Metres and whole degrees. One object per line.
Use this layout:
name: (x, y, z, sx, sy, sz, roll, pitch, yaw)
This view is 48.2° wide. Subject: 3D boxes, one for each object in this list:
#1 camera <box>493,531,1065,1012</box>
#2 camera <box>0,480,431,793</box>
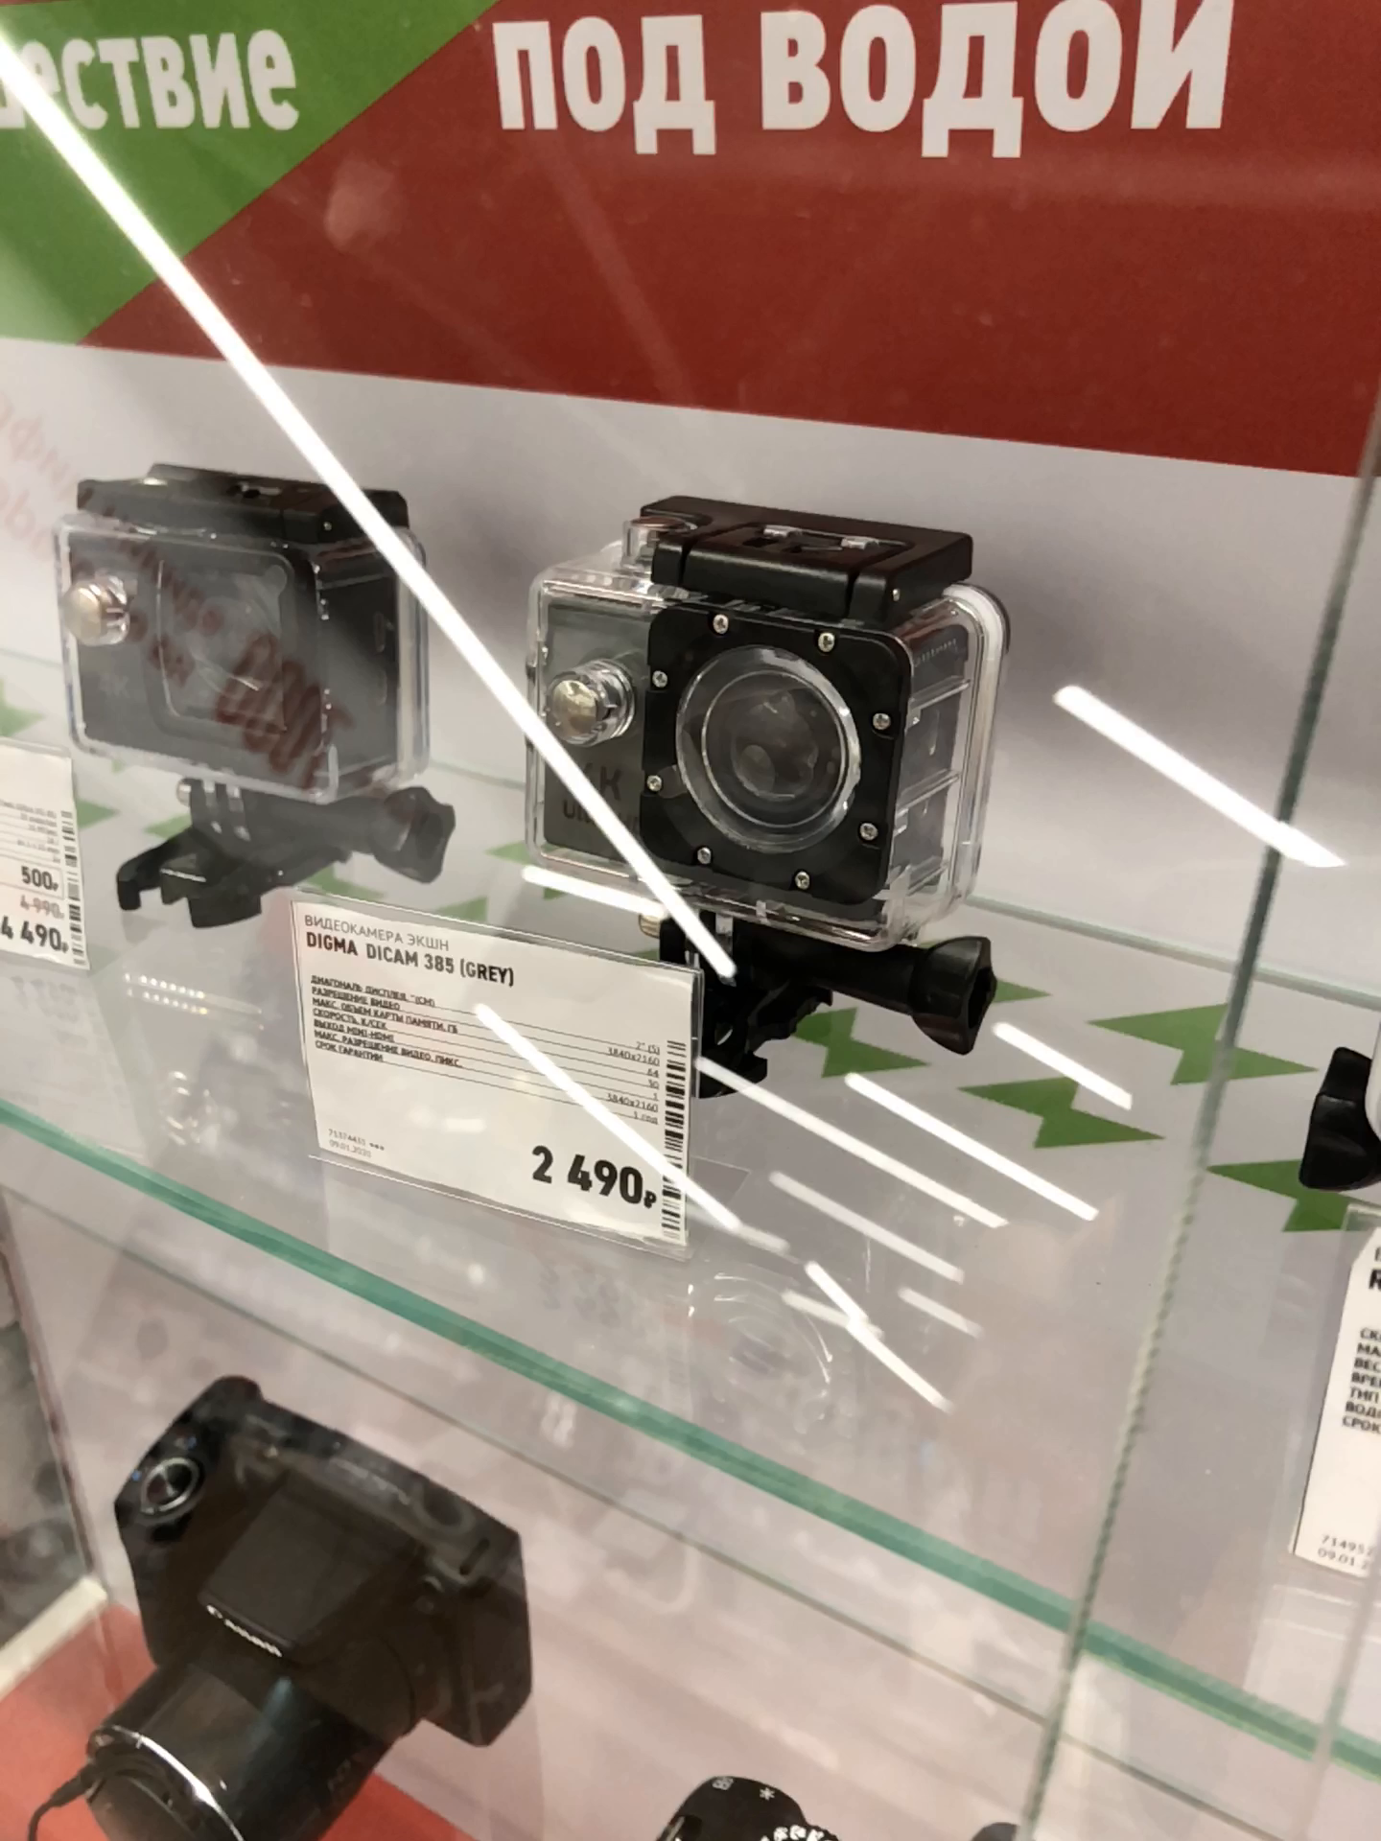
camera: (0.013, -0.029, 0.254, 0.077, 0.055, 0.048, 15, 27, 28)
camera: (-0.090, -0.056, 0.294, 0.072, 0.046, 0.036, 13, 22, 24)
